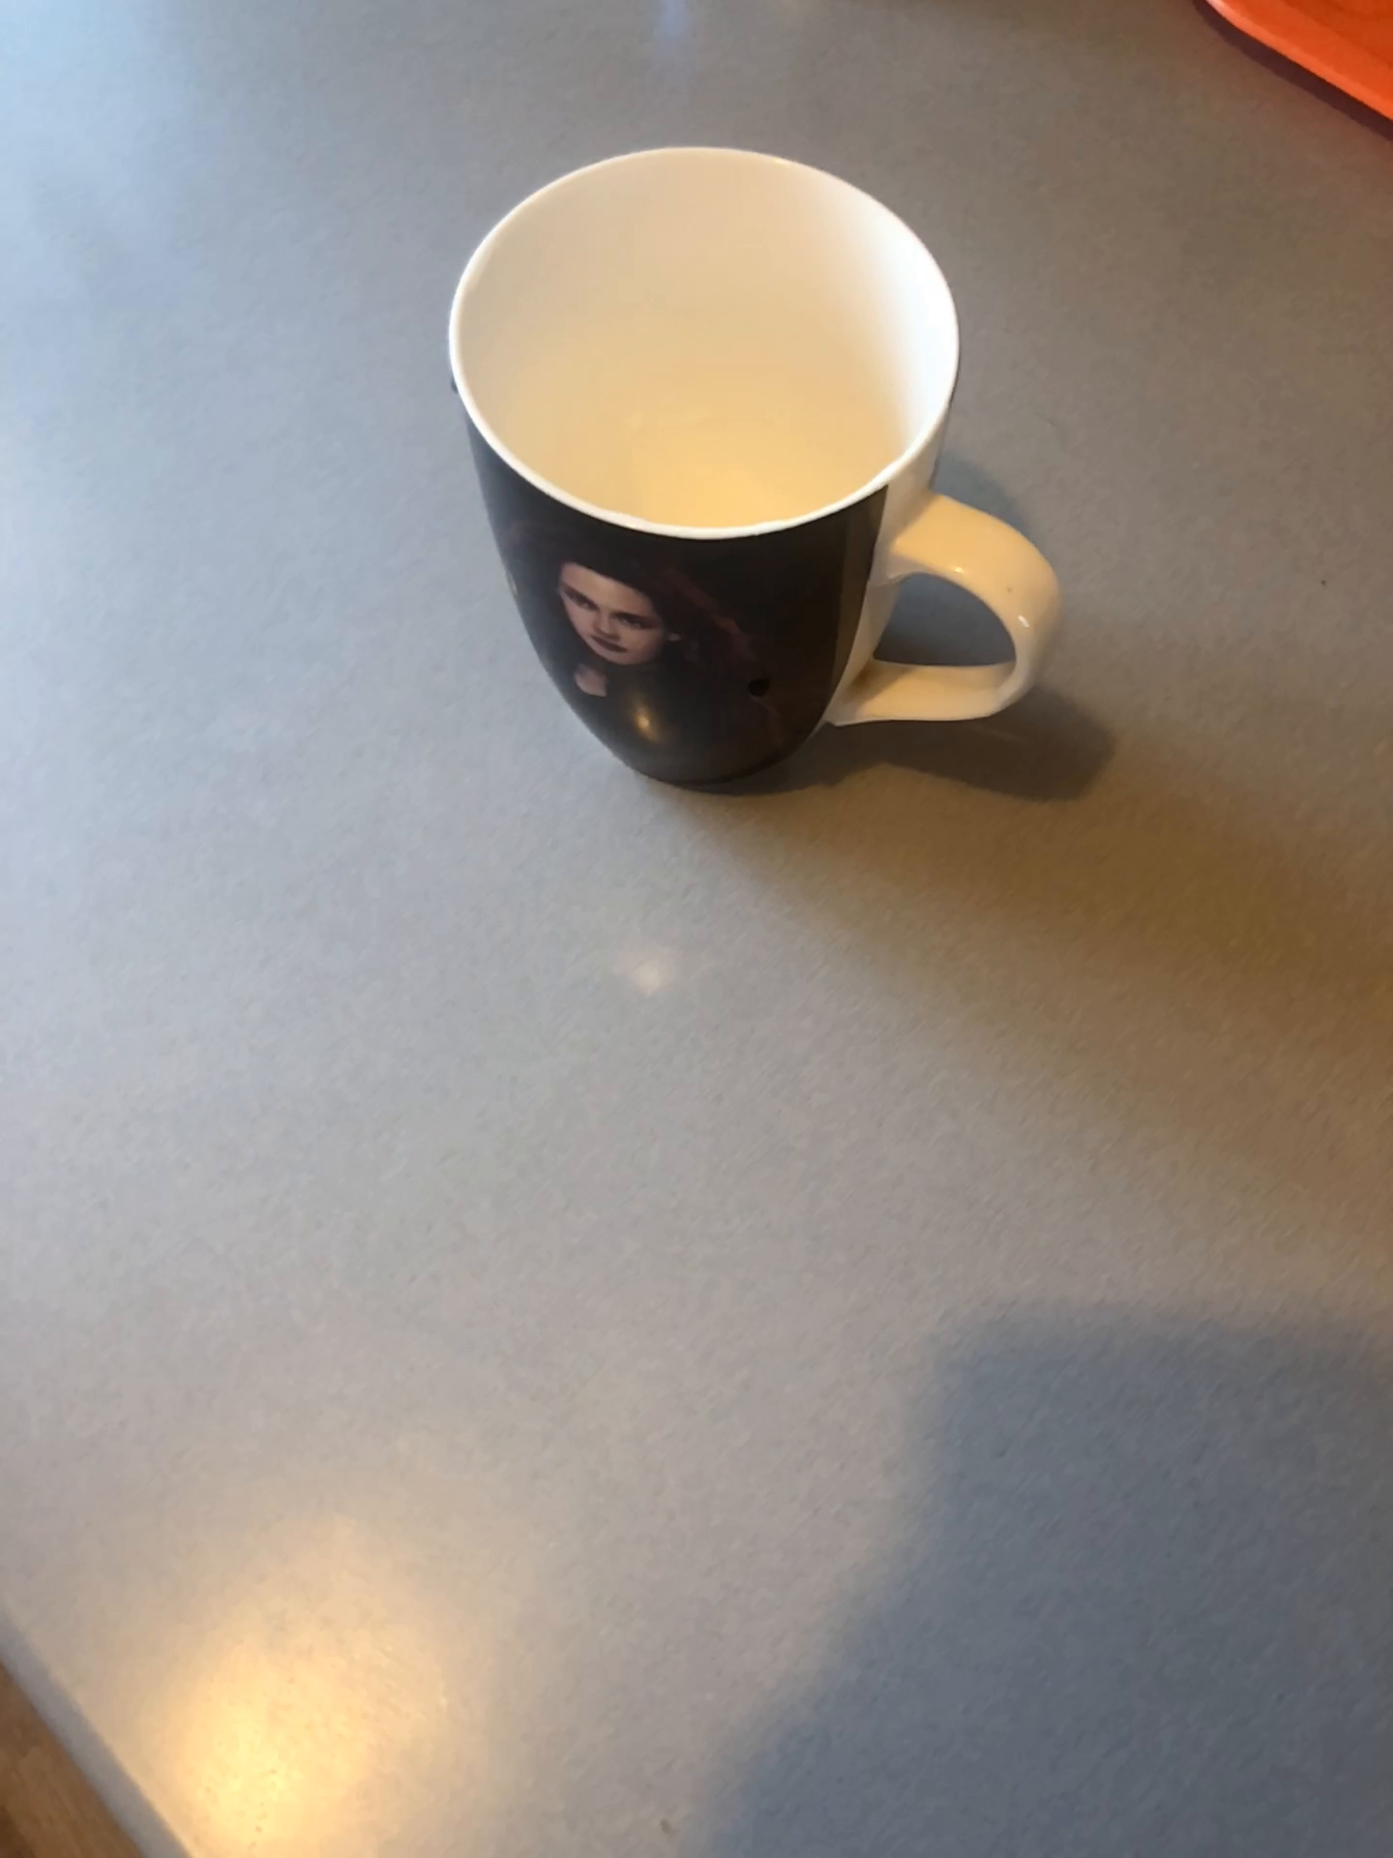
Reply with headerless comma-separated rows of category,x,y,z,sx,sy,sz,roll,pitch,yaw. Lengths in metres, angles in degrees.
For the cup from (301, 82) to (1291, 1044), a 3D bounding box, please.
cup,0.016,-0.065,0.292,0.130,0.100,0.090,31,69,14
